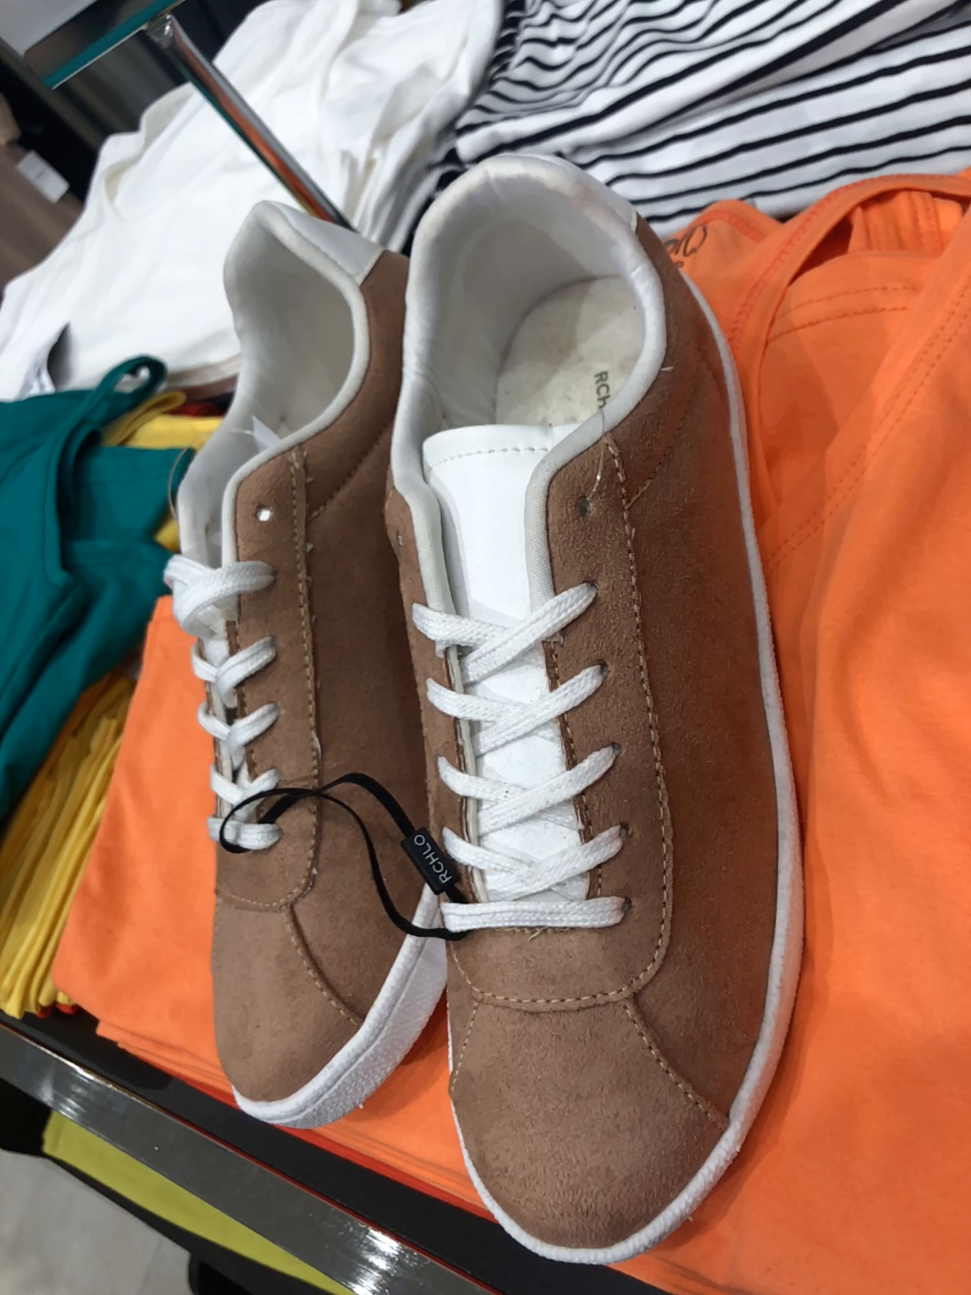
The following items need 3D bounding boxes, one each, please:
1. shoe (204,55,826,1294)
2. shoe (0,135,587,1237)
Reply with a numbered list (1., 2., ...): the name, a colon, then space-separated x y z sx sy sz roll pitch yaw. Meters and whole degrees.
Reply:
1. shoe: 0.018 0.011 0.263 0.090 0.099 0.250 -8 70 37
2. shoe: -0.048 0.008 0.306 0.090 0.099 0.250 -4 73 38
